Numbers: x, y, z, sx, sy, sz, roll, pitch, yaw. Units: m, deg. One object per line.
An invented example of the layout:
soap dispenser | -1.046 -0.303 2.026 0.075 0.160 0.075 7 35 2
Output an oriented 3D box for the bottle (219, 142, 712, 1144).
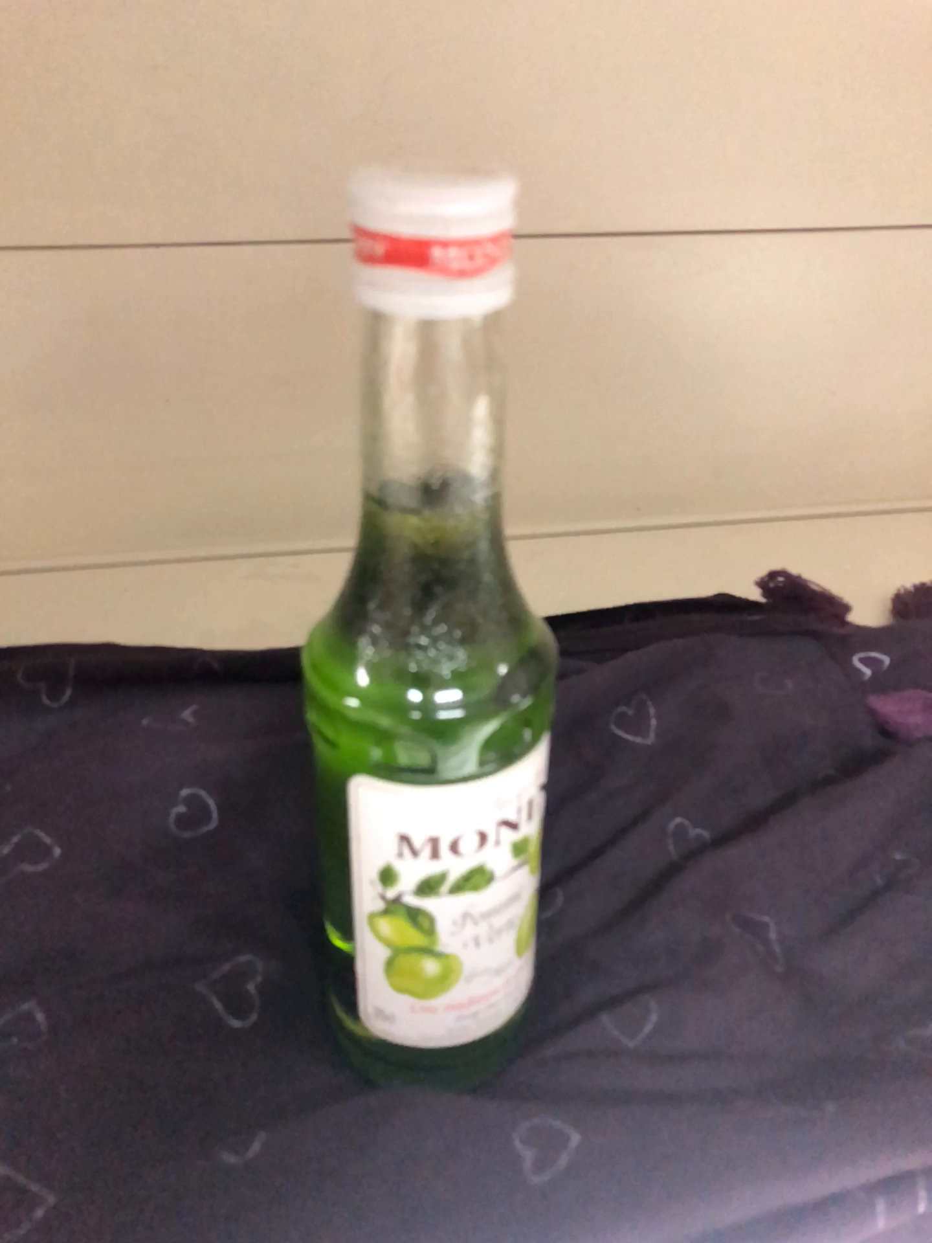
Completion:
bottle | -0.003 0.011 0.216 0.060 0.199 0.060 0 30 0
